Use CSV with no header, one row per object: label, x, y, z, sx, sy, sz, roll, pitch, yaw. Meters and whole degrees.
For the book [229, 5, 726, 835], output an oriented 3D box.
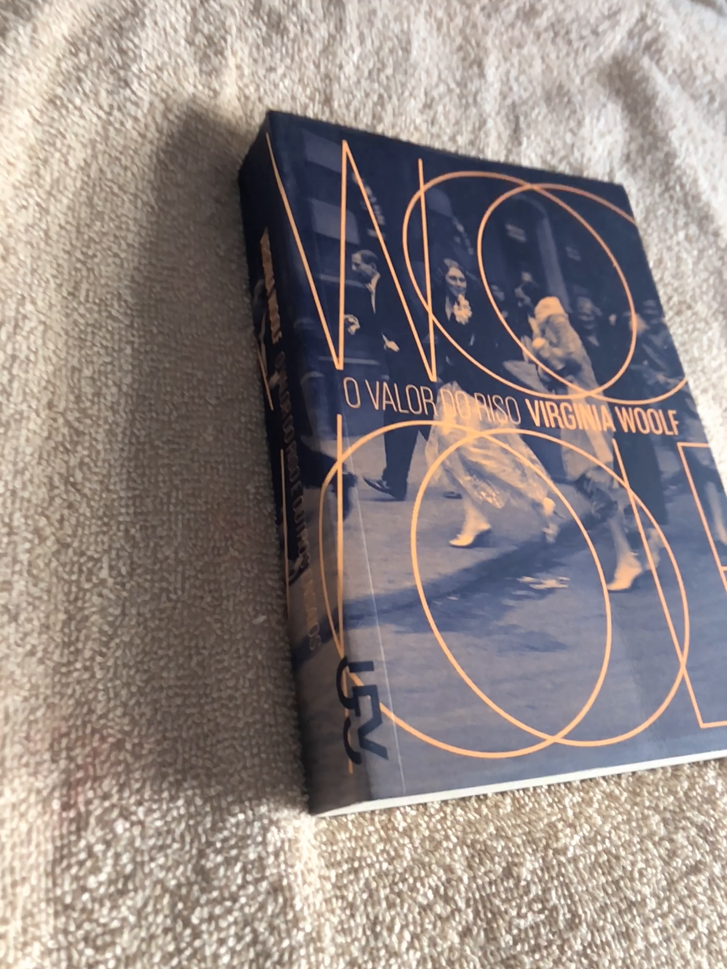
book,0.044,-0.018,0.222,0.140,0.050,0.190,4,66,-28
